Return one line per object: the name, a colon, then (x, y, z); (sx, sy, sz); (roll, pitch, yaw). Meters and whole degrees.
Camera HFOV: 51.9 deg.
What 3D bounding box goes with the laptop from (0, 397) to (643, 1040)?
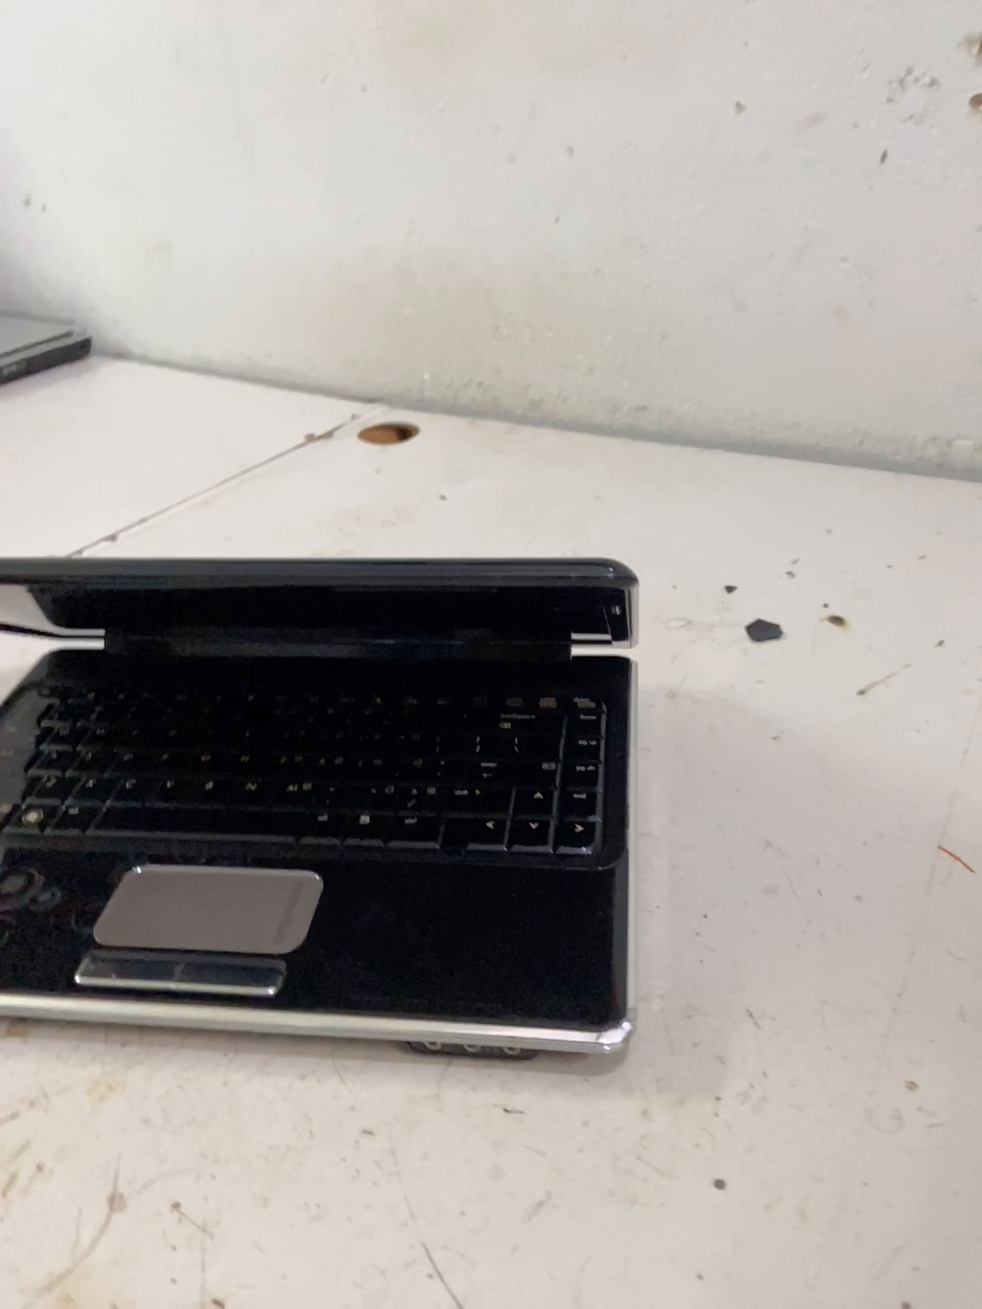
laptop: (-0.104, 0.003, 0.421); (0.327, 0.137, 0.232); (1, 33, 8)
